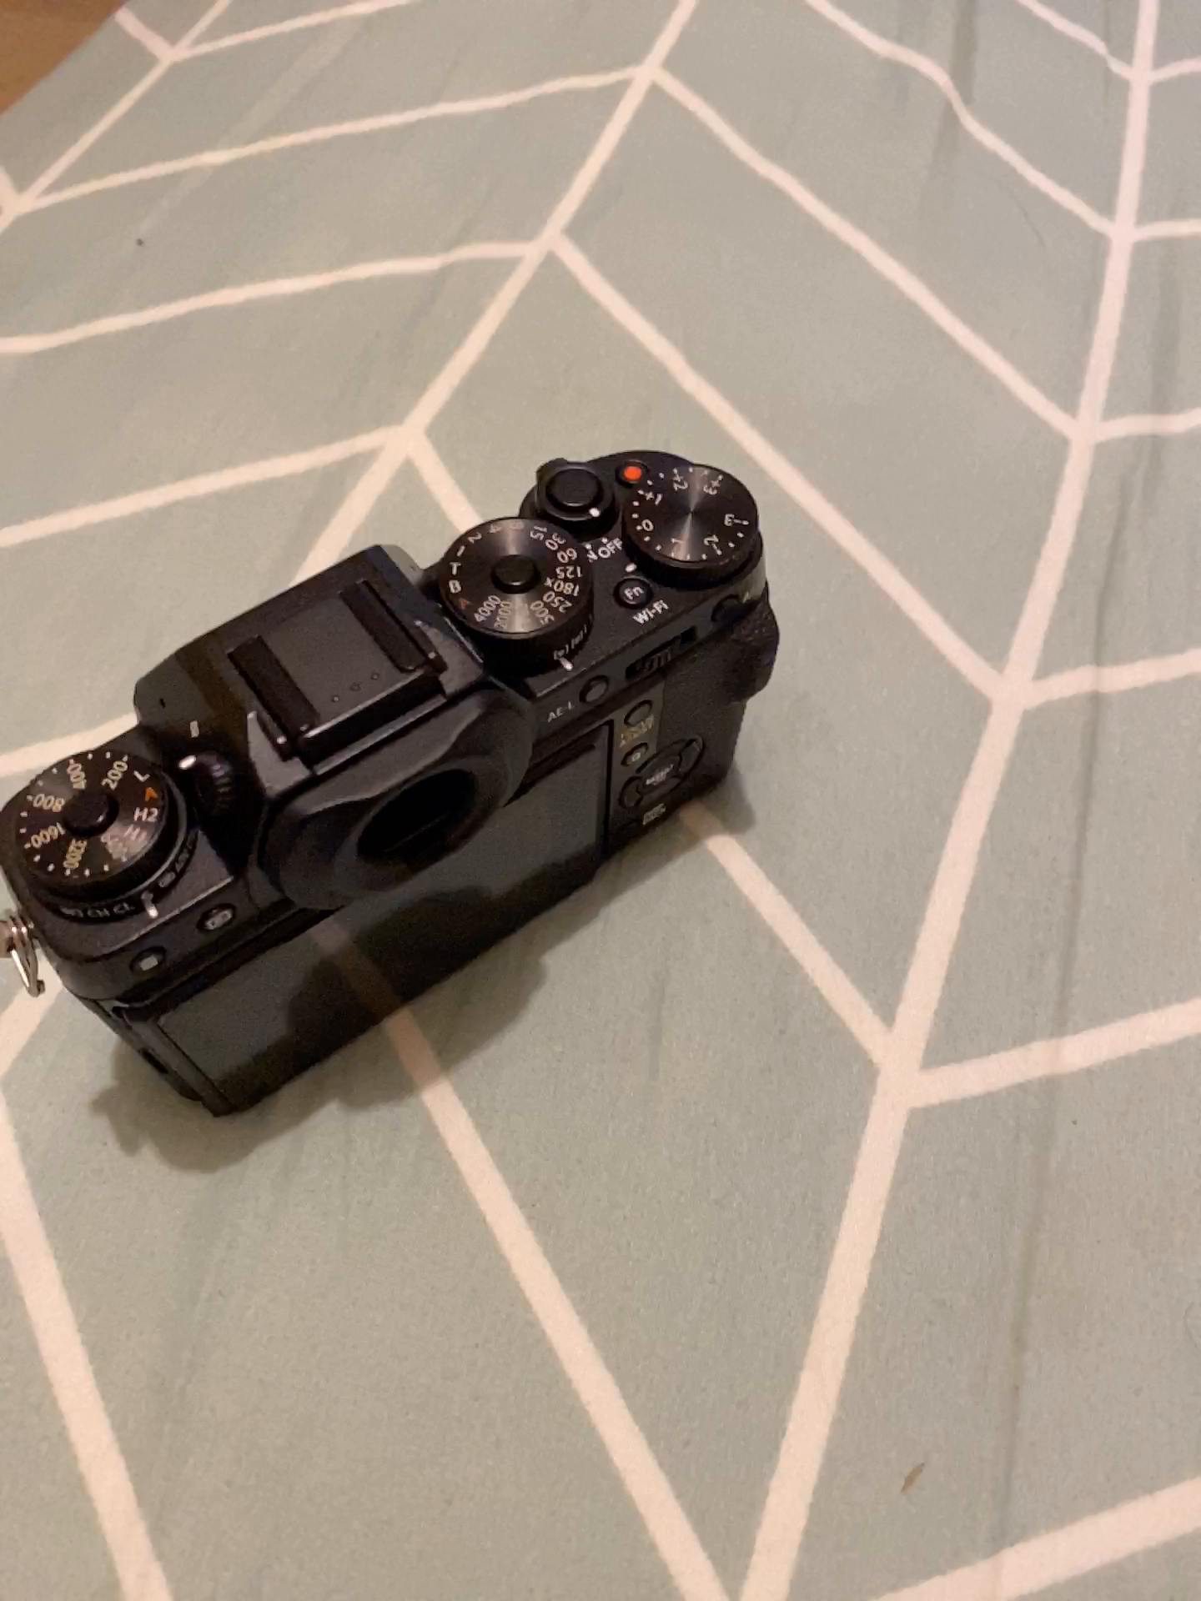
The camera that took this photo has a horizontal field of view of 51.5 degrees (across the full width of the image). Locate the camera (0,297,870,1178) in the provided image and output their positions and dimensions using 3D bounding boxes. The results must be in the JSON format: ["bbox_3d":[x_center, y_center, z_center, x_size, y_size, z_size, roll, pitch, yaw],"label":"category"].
[{"bbox_3d":[-0.033,-0.009,0.214,0.142,0.082,0.054,-33,67,-18],"label":"camera"}]
